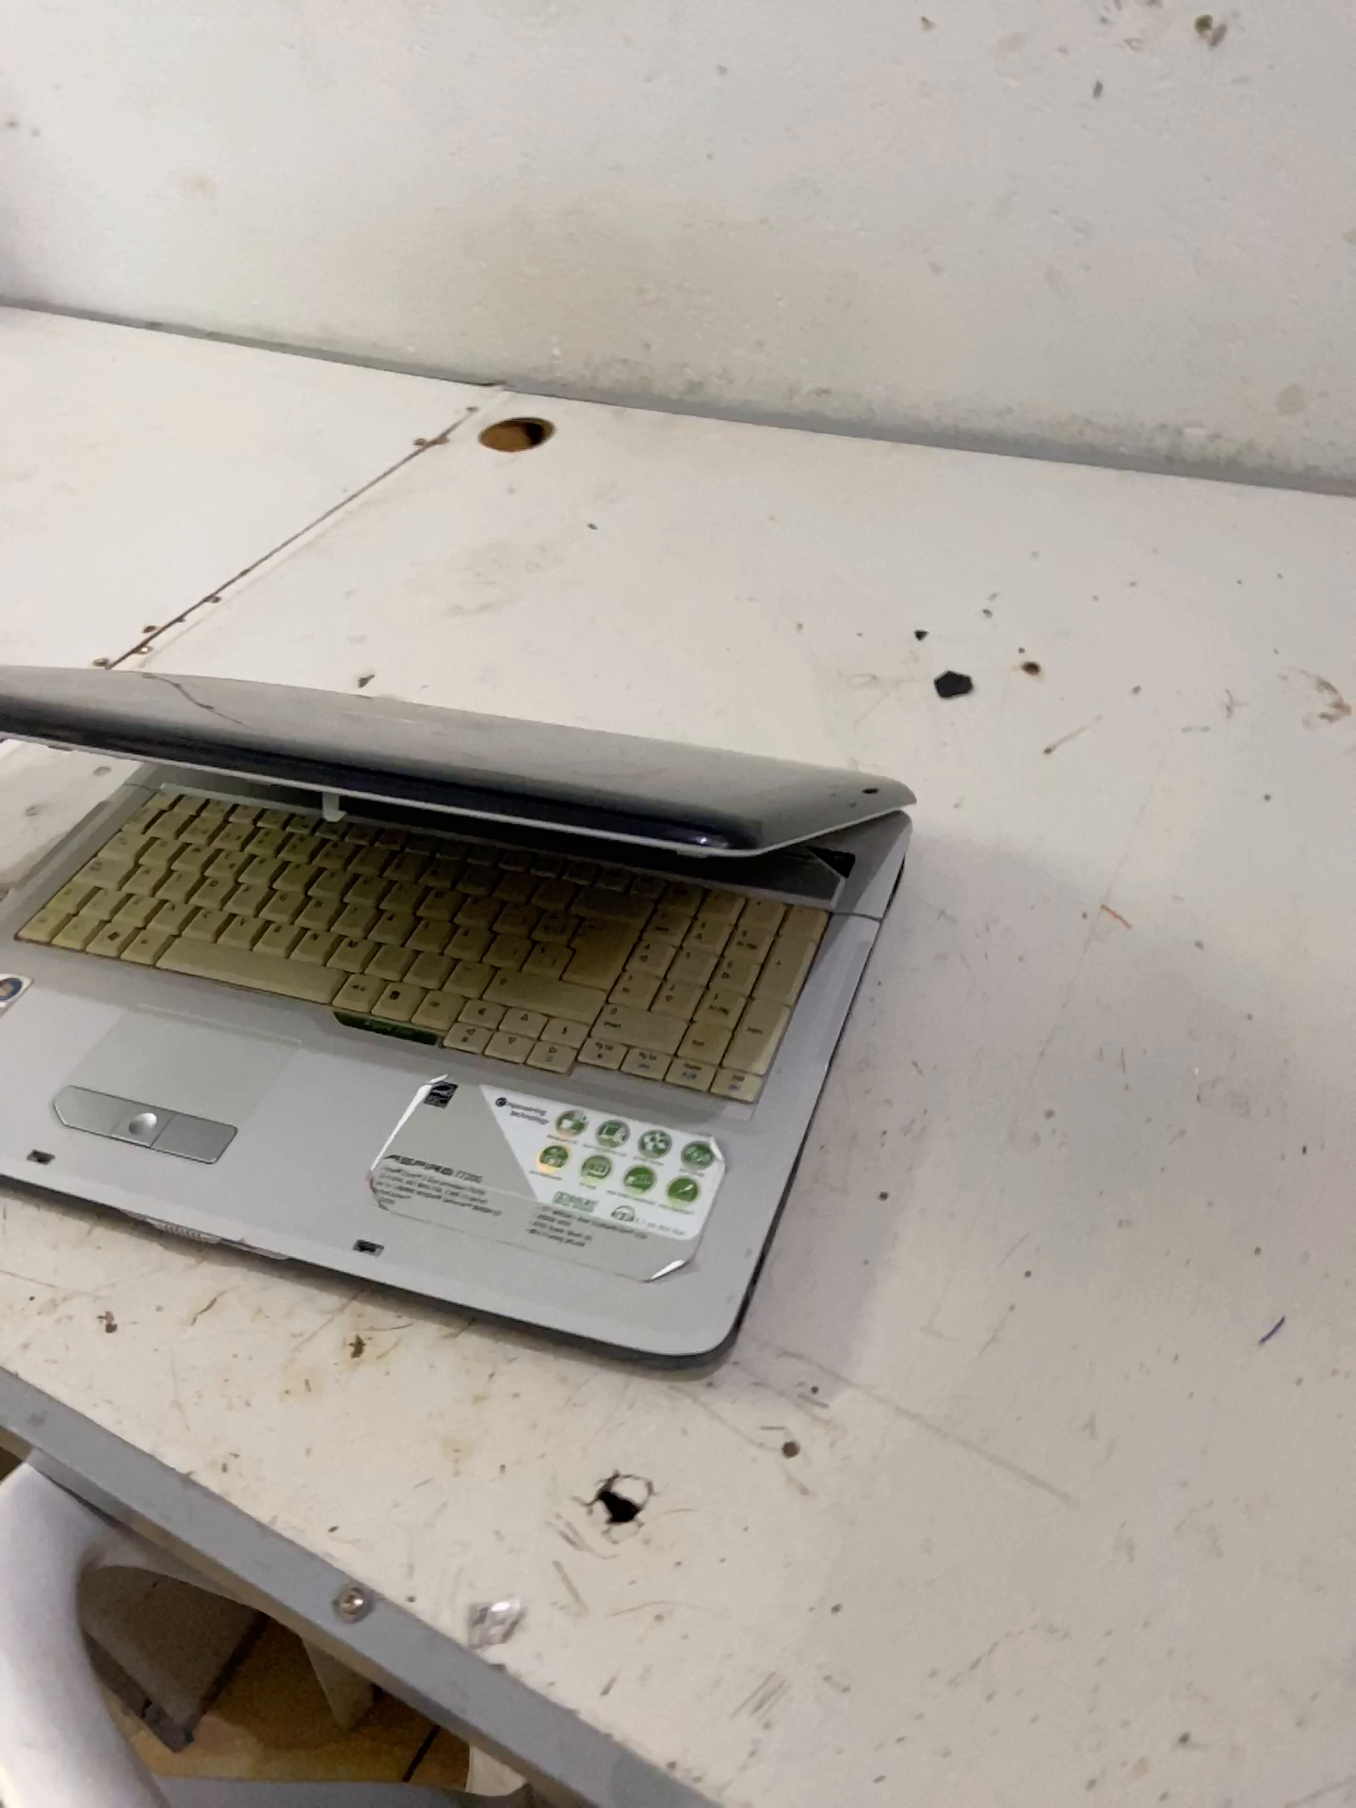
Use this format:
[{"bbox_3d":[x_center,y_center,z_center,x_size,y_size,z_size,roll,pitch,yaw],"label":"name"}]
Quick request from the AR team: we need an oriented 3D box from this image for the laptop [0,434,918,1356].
[{"bbox_3d":[-0.130,-0.038,0.540,0.380,0.164,0.279,9,45,20],"label":"laptop"}]
